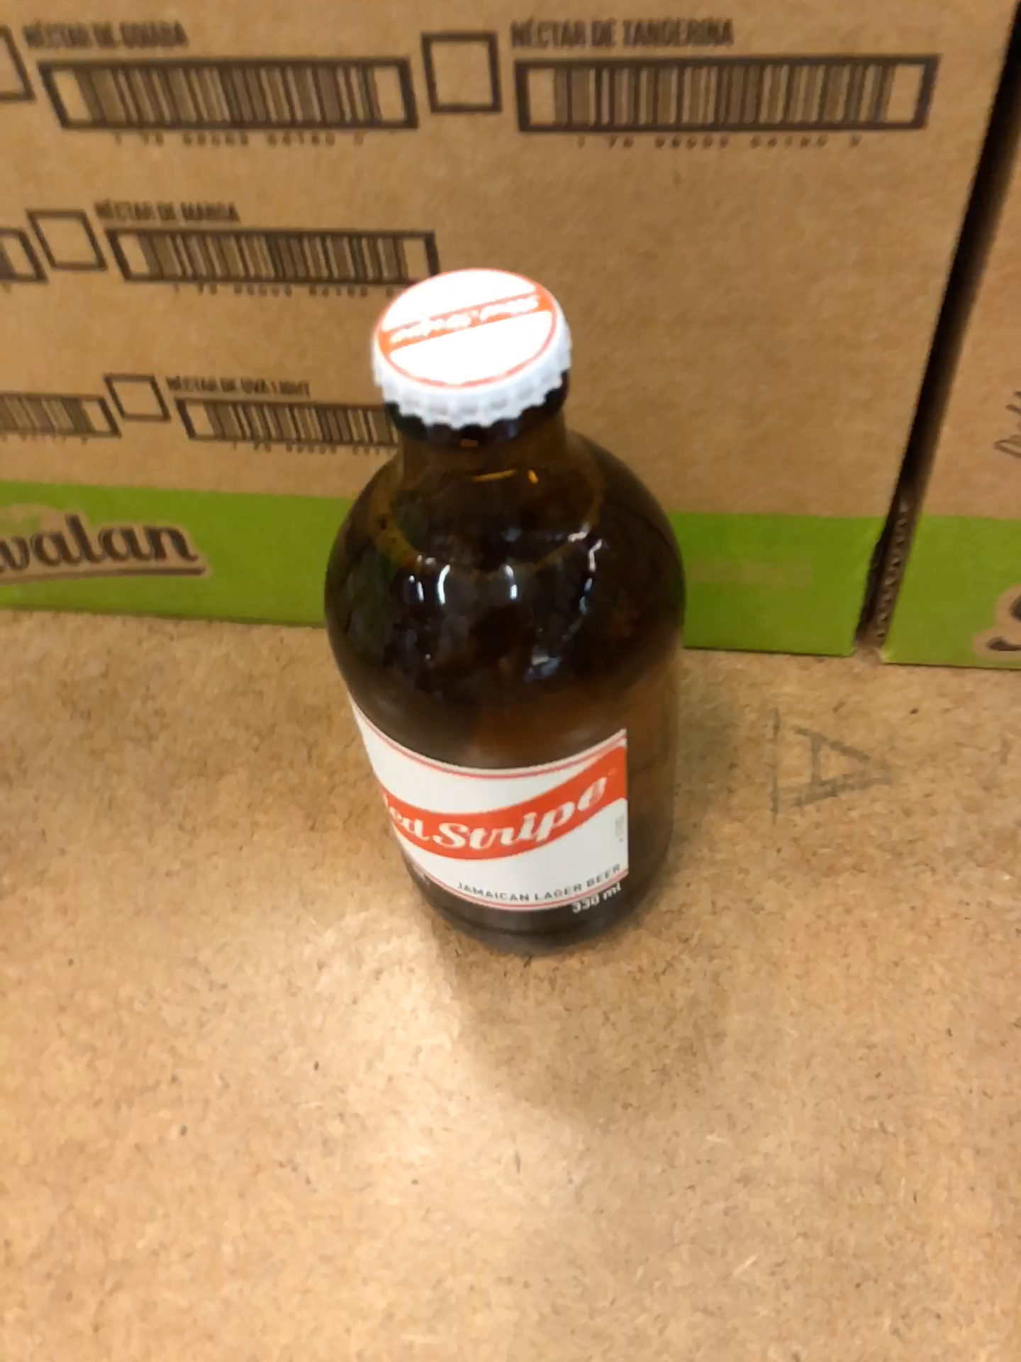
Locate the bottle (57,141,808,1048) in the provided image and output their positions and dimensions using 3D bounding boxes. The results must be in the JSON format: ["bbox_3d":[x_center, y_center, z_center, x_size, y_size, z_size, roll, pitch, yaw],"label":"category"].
[{"bbox_3d":[-0.002,-0.003,0.217,0.080,0.159,0.070,18,58,18],"label":"bottle"}]
